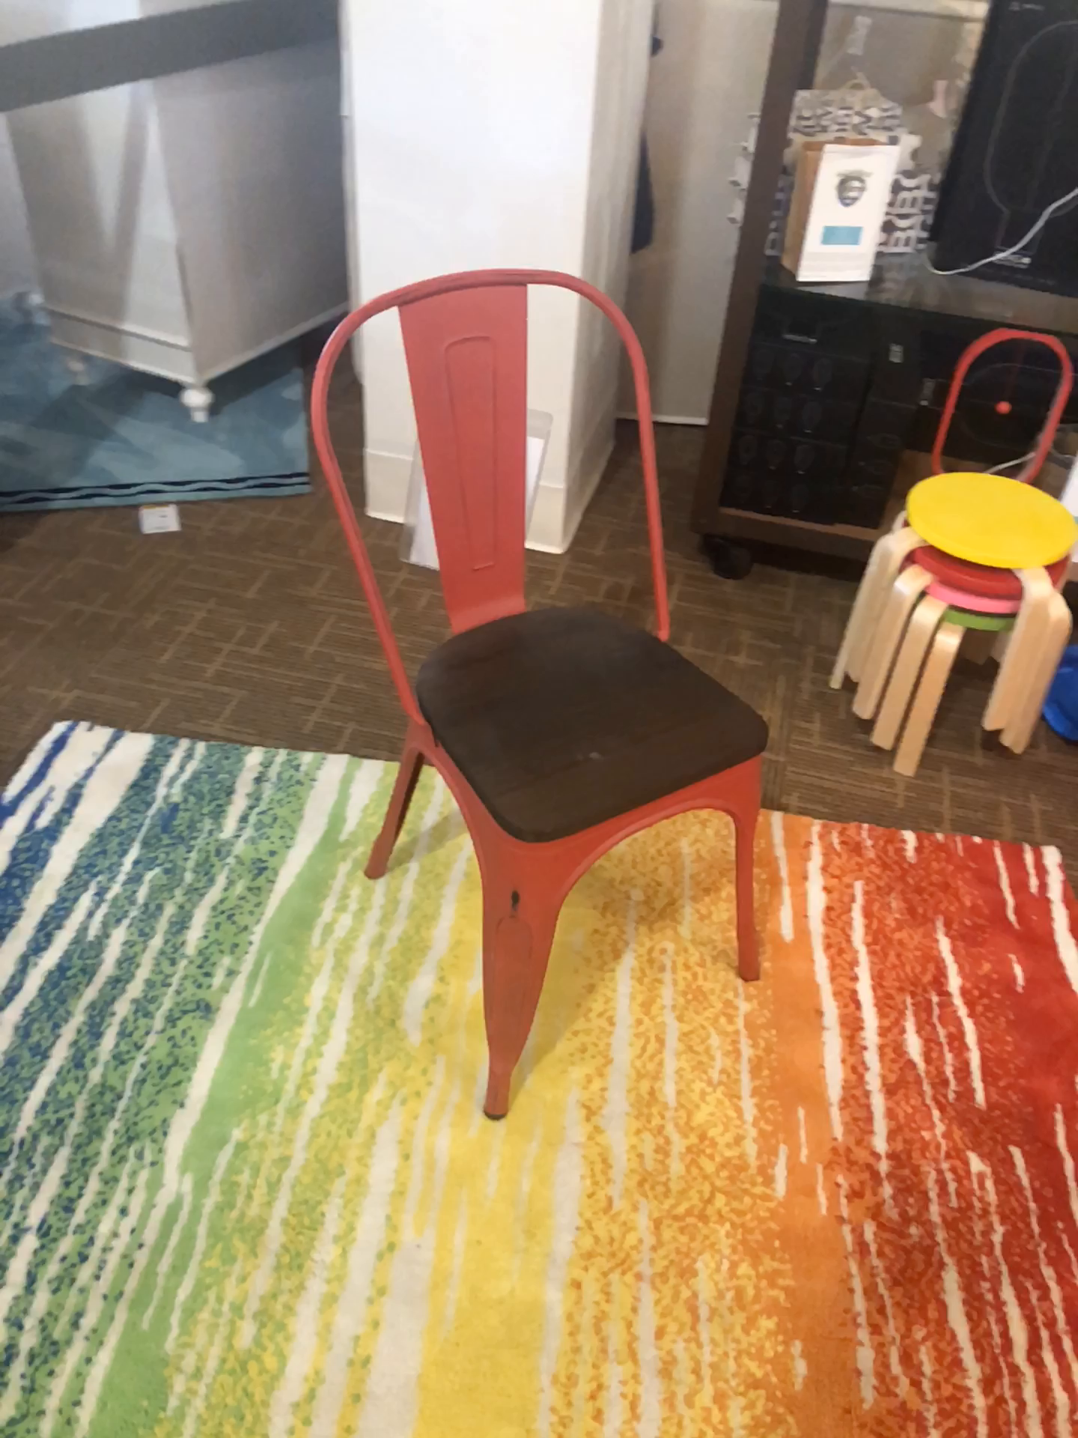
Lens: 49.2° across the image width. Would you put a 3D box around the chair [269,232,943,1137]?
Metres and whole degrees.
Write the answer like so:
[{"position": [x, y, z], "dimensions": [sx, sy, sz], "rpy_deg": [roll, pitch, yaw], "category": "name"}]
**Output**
[{"position": [0.022, -0.038, 1.395], "dimensions": [0.451, 0.856, 0.491], "rpy_deg": [-19, 44, -27], "category": "chair"}]
